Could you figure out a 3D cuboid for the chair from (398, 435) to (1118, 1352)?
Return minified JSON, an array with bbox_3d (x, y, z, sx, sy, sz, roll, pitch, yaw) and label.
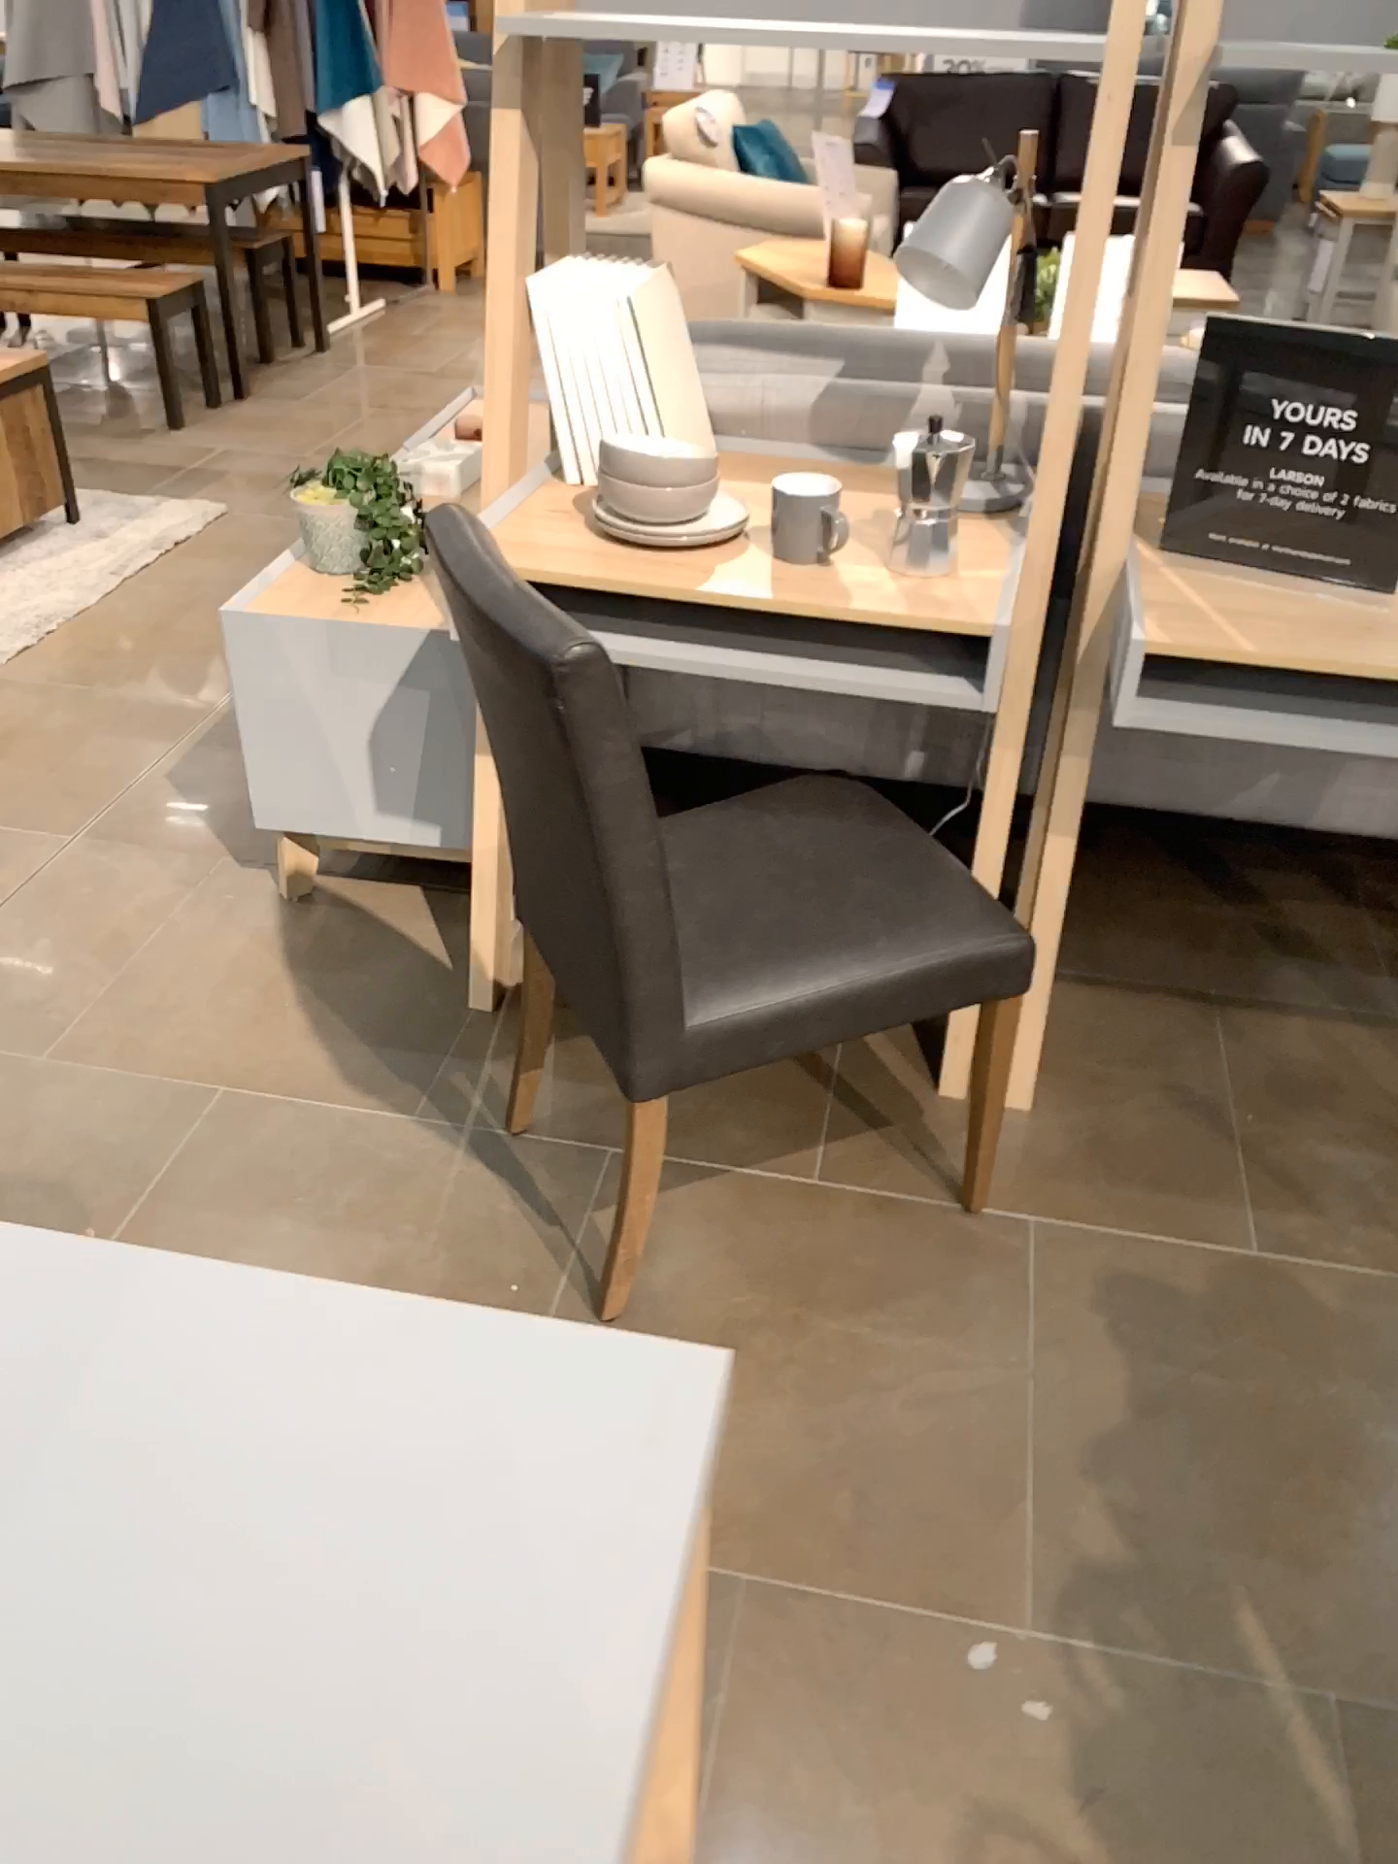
[{"bbox_3d":[0.033,-0.059,1.724,0.605,0.887,0.460,-13,36,-22],"label":"chair"}]
